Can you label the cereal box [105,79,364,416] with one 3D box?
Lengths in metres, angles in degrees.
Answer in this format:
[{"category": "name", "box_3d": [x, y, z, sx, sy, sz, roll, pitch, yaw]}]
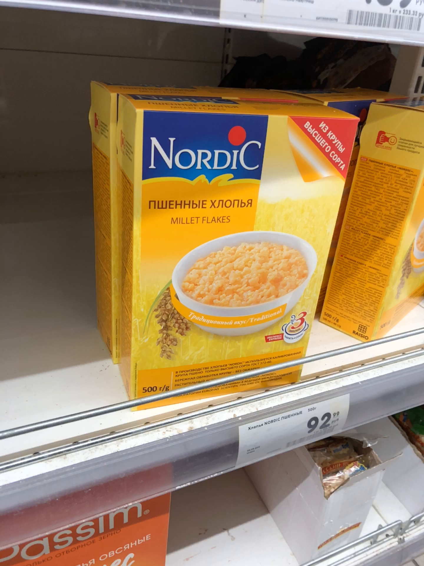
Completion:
[{"category": "cereal box", "box_3d": [0.003, -0.020, 0.324, 0.140, 0.209, 0.060, -5, 29, -18]}]
